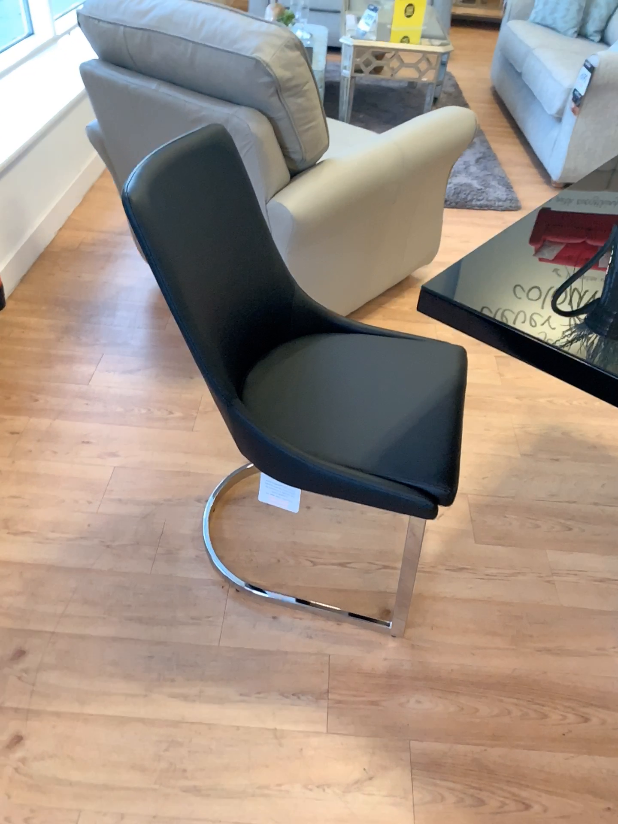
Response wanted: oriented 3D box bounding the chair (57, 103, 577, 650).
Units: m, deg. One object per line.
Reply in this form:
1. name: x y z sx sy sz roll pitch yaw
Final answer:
1. chair: 0.021 -0.052 1.202 0.629 0.812 0.510 9 41 6
